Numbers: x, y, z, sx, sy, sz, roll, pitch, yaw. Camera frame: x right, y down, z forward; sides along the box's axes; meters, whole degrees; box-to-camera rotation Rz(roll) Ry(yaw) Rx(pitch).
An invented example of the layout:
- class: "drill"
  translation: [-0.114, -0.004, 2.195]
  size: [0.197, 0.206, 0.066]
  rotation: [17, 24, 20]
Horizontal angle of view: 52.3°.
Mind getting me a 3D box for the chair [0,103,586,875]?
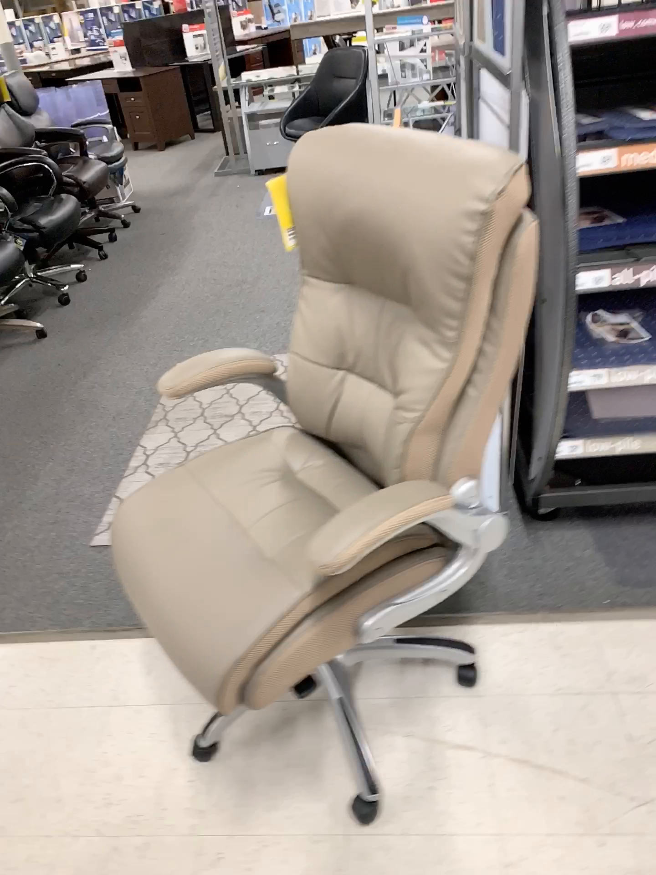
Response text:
- class: "chair"
  translation: [-0.098, 0.084, 1.273]
  size: [0.721, 1.144, 0.713]
  rotation: [-25, 38, -23]
